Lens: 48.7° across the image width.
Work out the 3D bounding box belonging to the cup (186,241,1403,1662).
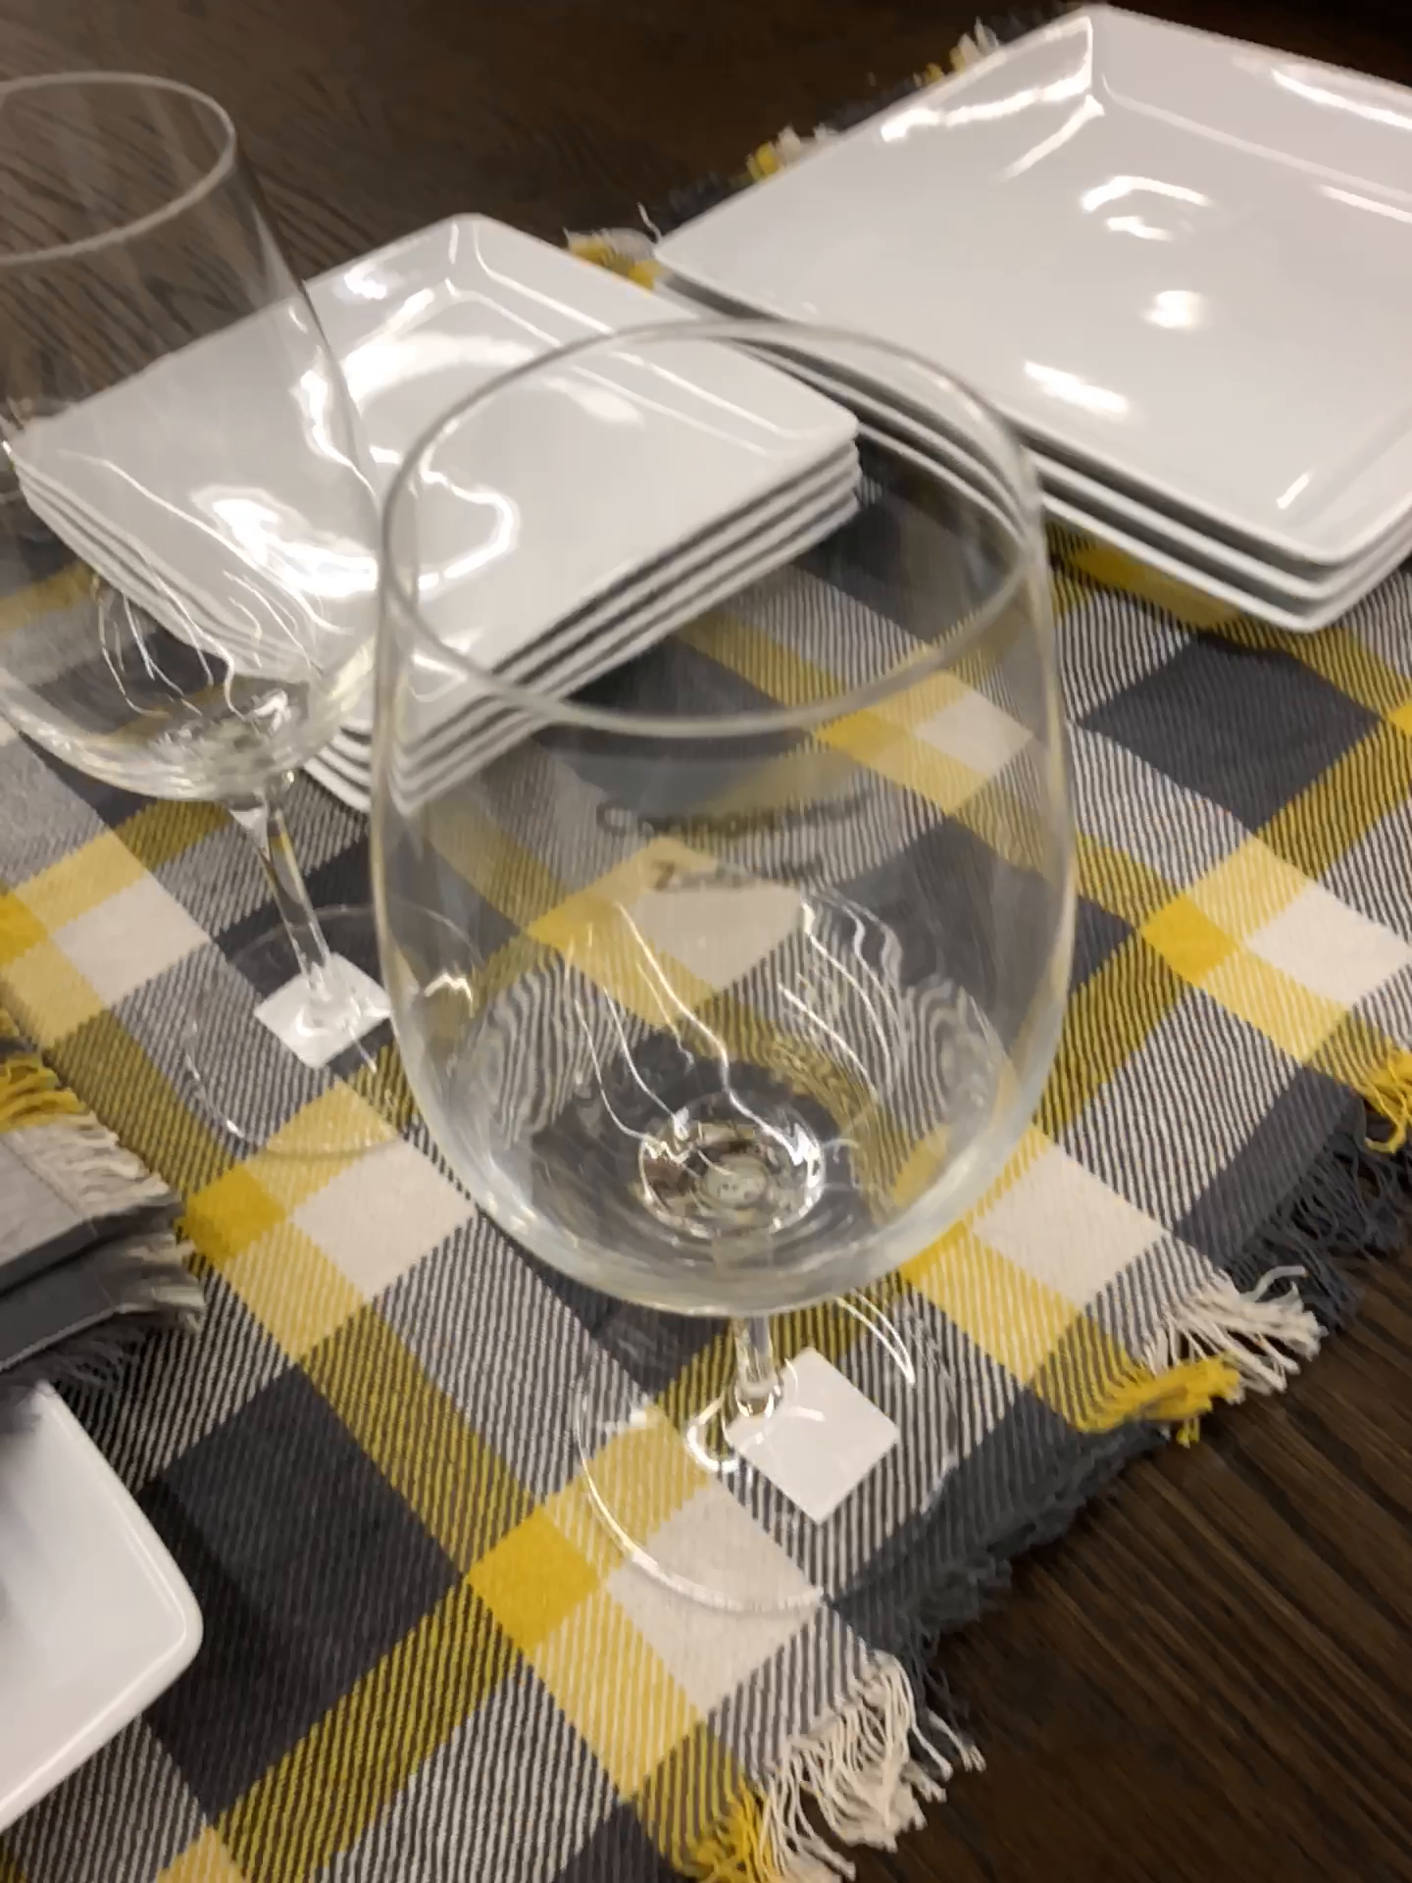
[{"bbox_3d":[0.007,0.021,0.223,0.092,0.192,0.096,-1,50,2],"label":"cup"}]

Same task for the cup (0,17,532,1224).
[{"bbox_3d":[-0.090,-0.042,0.286,0.092,0.193,0.096,-1,50,2],"label":"cup"}]
